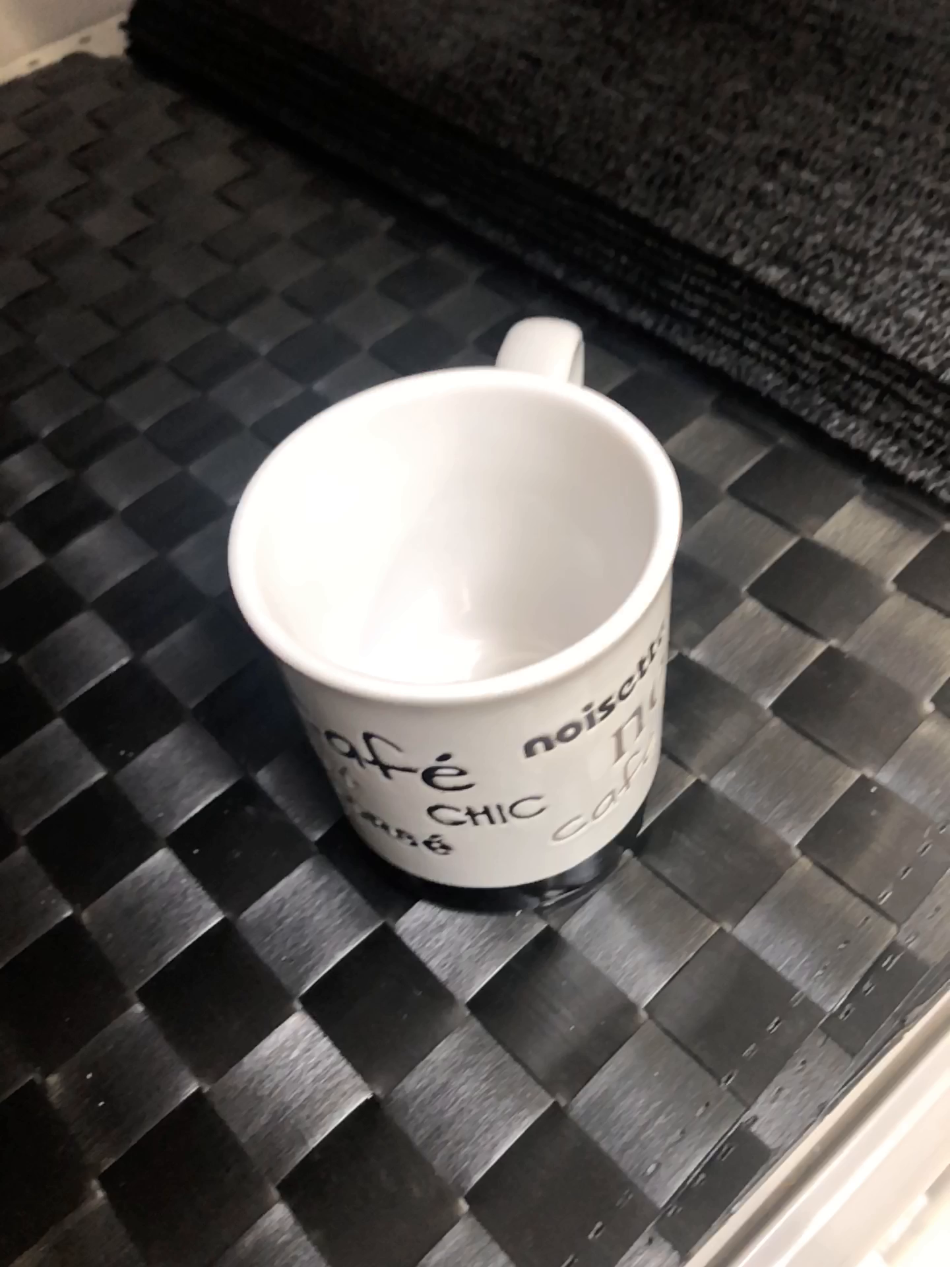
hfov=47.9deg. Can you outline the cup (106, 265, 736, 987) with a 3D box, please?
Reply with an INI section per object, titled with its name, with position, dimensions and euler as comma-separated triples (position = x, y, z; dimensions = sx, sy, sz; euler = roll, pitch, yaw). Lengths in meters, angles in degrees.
[cup]
position = 0.001, -0.004, 0.181
dimensions = 0.067, 0.066, 0.093
euler = 9, 55, 15
